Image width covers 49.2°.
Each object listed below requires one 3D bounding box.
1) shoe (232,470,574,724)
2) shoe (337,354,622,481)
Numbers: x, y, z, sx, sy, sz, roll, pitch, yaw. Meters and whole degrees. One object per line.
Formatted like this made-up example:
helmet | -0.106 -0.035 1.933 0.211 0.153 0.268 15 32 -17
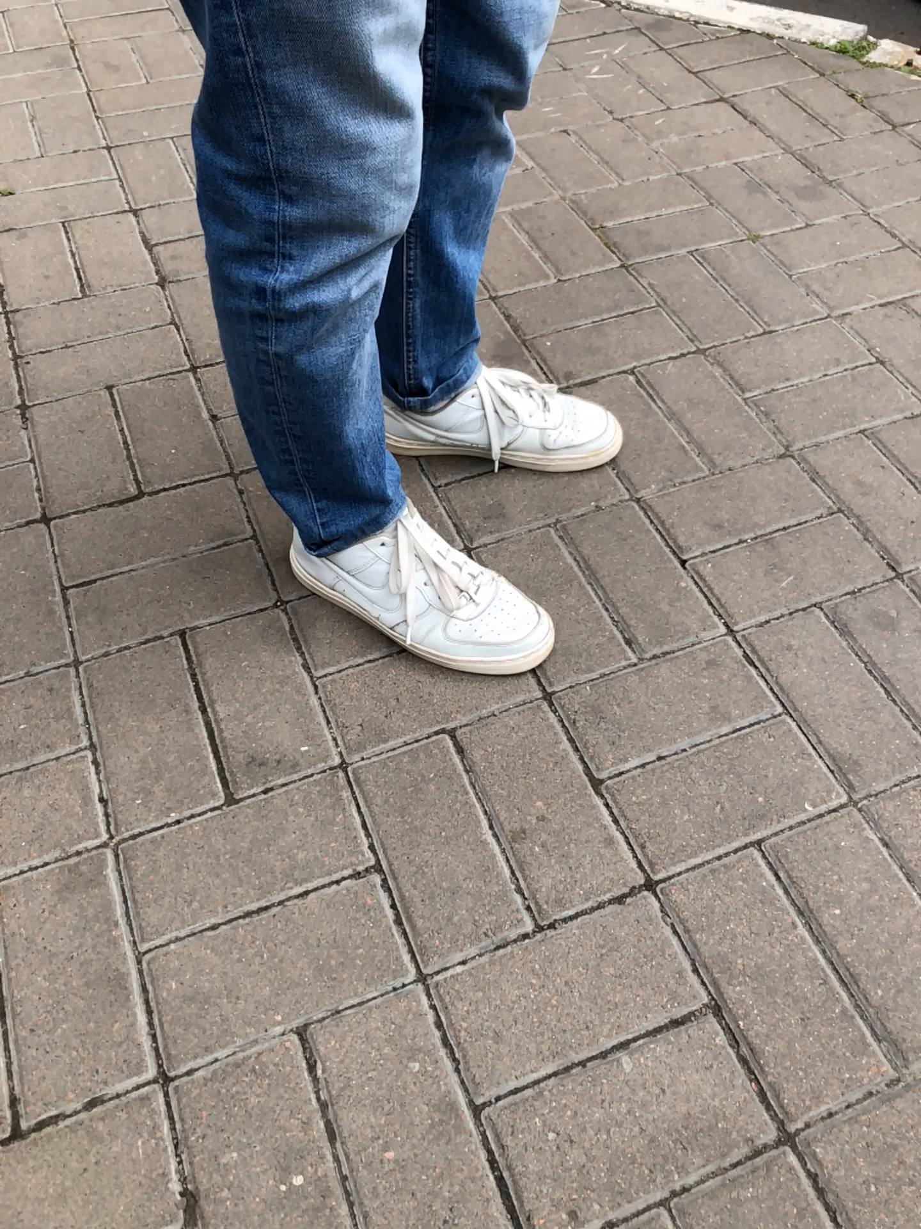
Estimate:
shoe | -0.056 -0.023 0.960 0.300 0.070 0.121 25 56 19
shoe | 0.024 -0.220 1.119 0.300 0.070 0.111 3 52 4
